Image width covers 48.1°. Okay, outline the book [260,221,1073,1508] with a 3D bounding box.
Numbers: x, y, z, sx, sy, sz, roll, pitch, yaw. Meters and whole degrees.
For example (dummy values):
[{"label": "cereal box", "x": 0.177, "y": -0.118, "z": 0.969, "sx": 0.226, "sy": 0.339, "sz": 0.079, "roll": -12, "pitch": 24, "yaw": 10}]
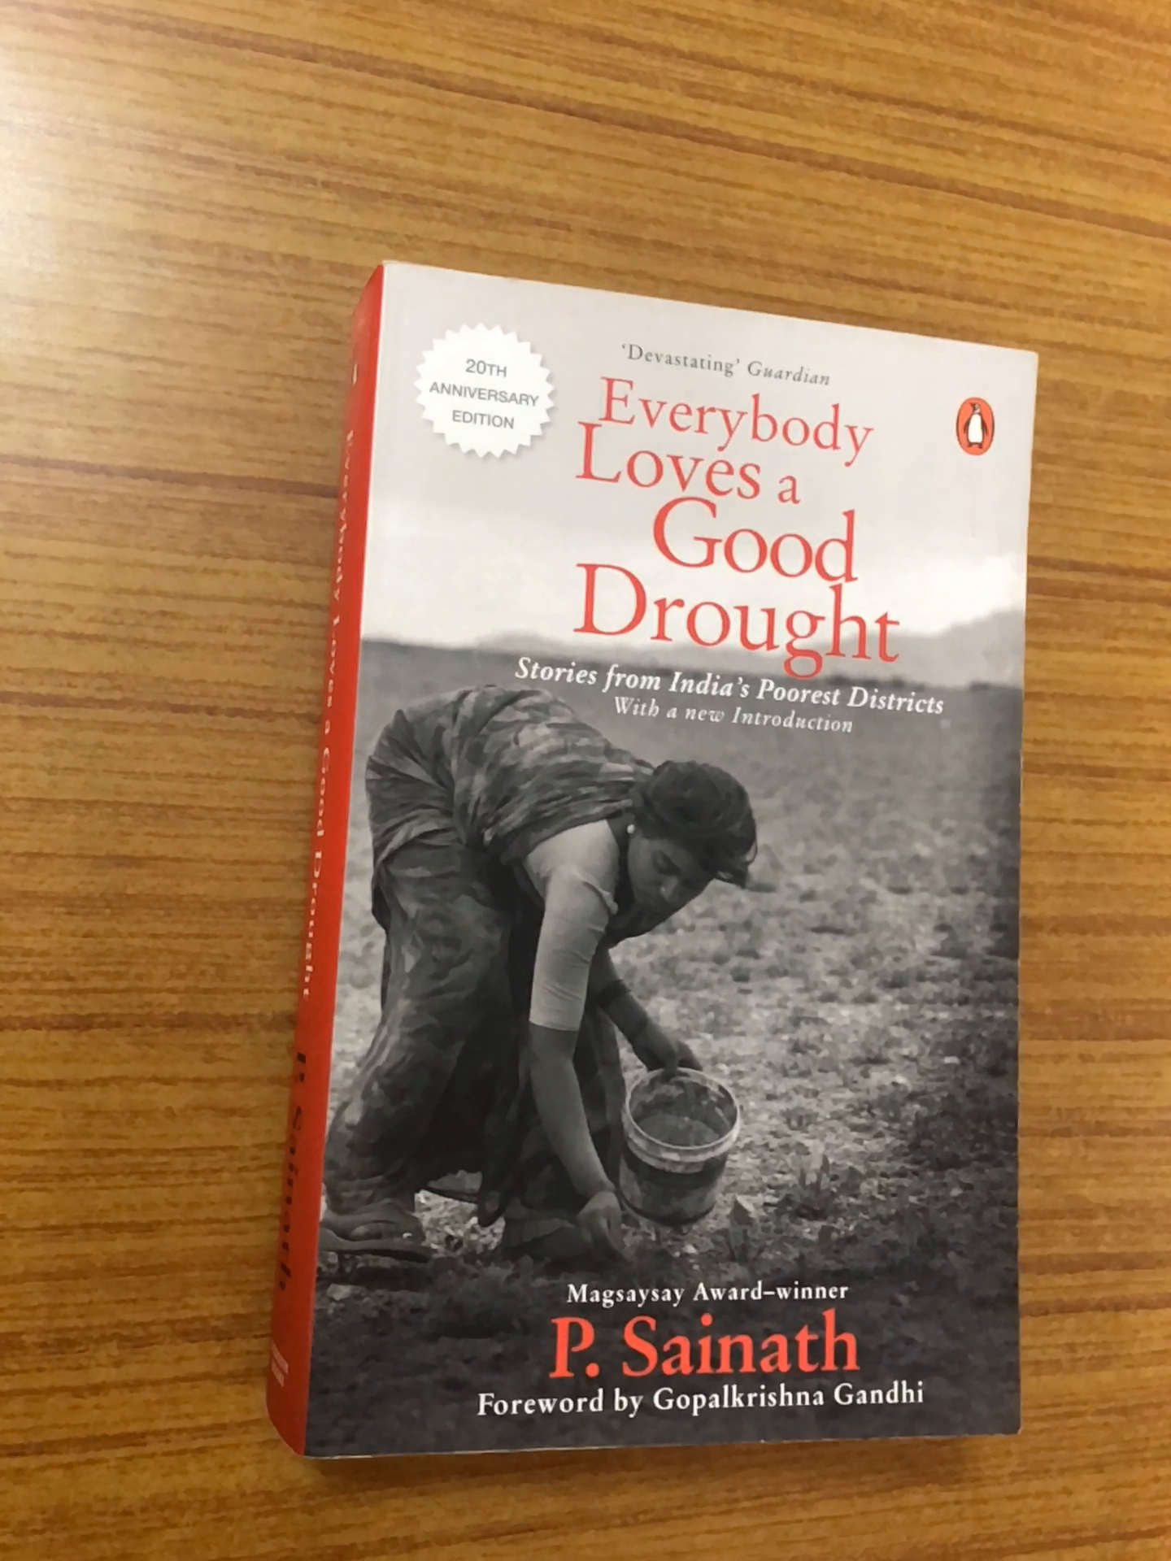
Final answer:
[{"label": "book", "x": 0.018, "y": 0.016, "z": 0.251, "sx": 0.140, "sy": 0.040, "sz": 0.210, "roll": 5, "pitch": 84, "yaw": -15}]
